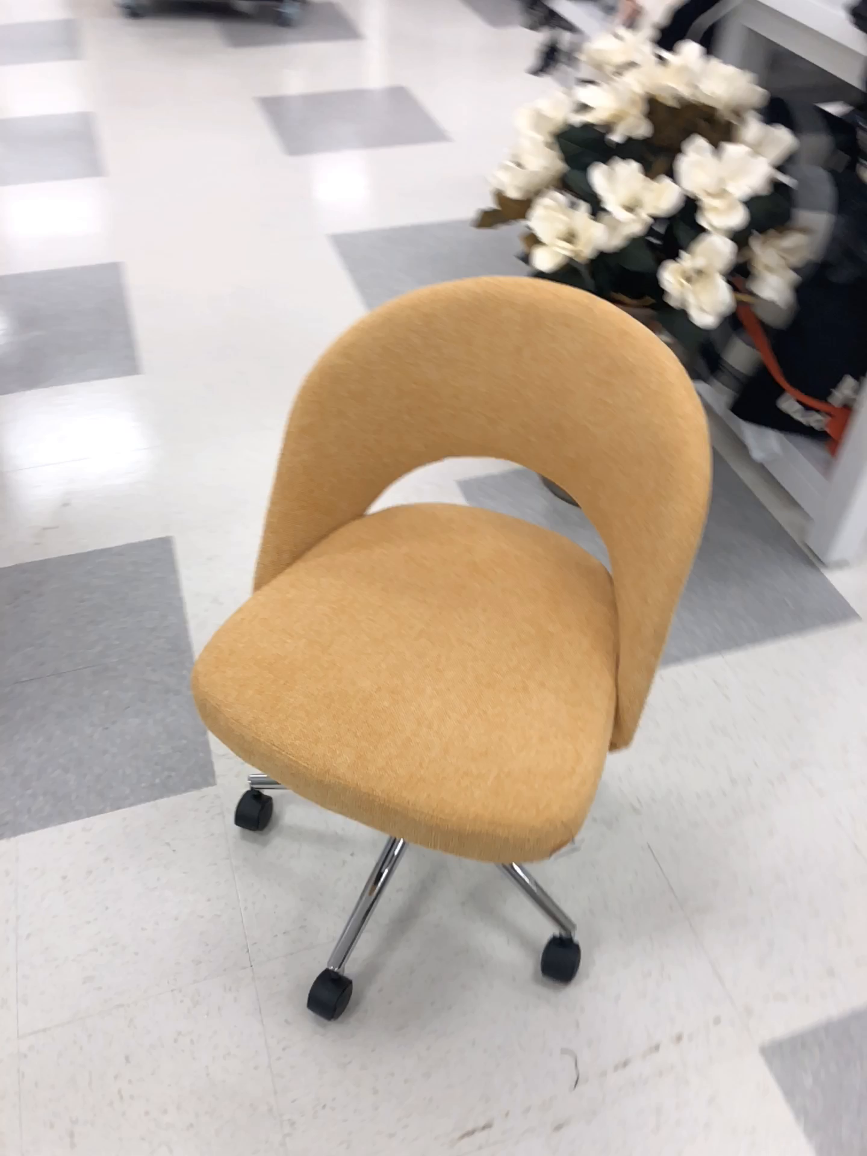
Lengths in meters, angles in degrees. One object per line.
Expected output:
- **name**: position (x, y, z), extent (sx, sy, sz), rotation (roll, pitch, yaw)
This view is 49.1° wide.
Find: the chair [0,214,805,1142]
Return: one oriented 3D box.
- **chair**: position (-0.006, 0.108, 1.146), extent (0.581, 0.749, 0.638), rotation (18, 47, 16)
